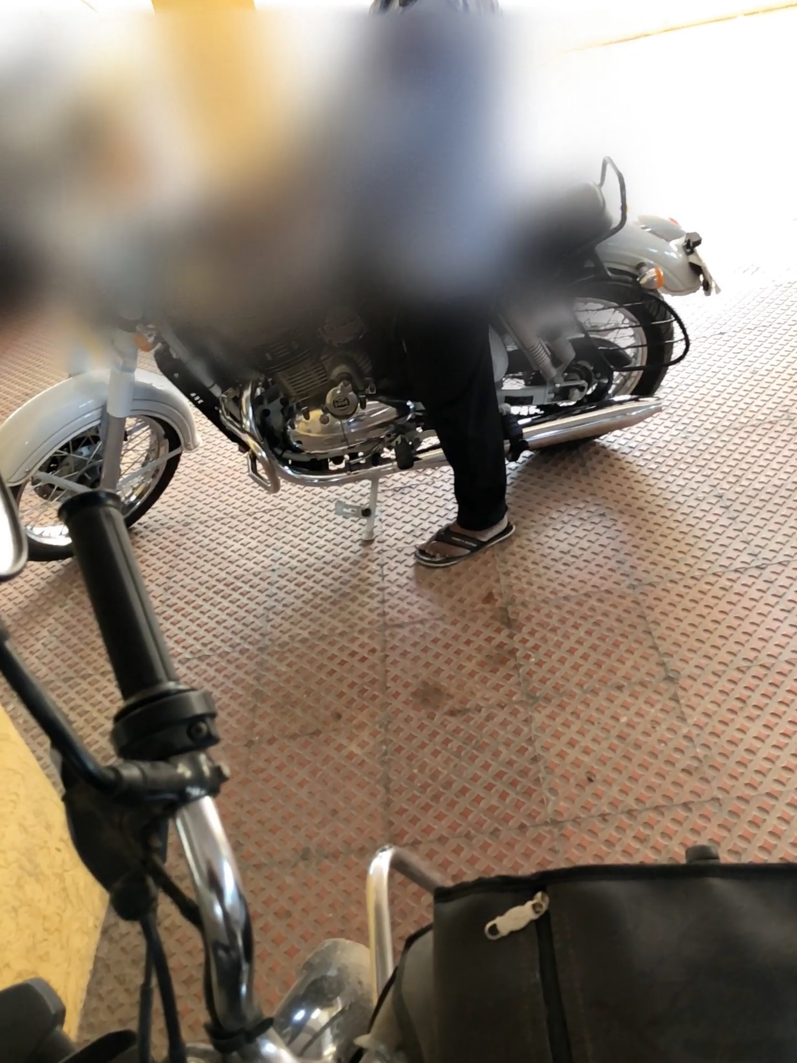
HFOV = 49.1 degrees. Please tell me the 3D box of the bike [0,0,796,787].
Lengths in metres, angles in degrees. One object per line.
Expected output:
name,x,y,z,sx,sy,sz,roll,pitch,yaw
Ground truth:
bike,-0.196,-0.410,2.014,1.899,1.234,0.848,-15,35,-4
